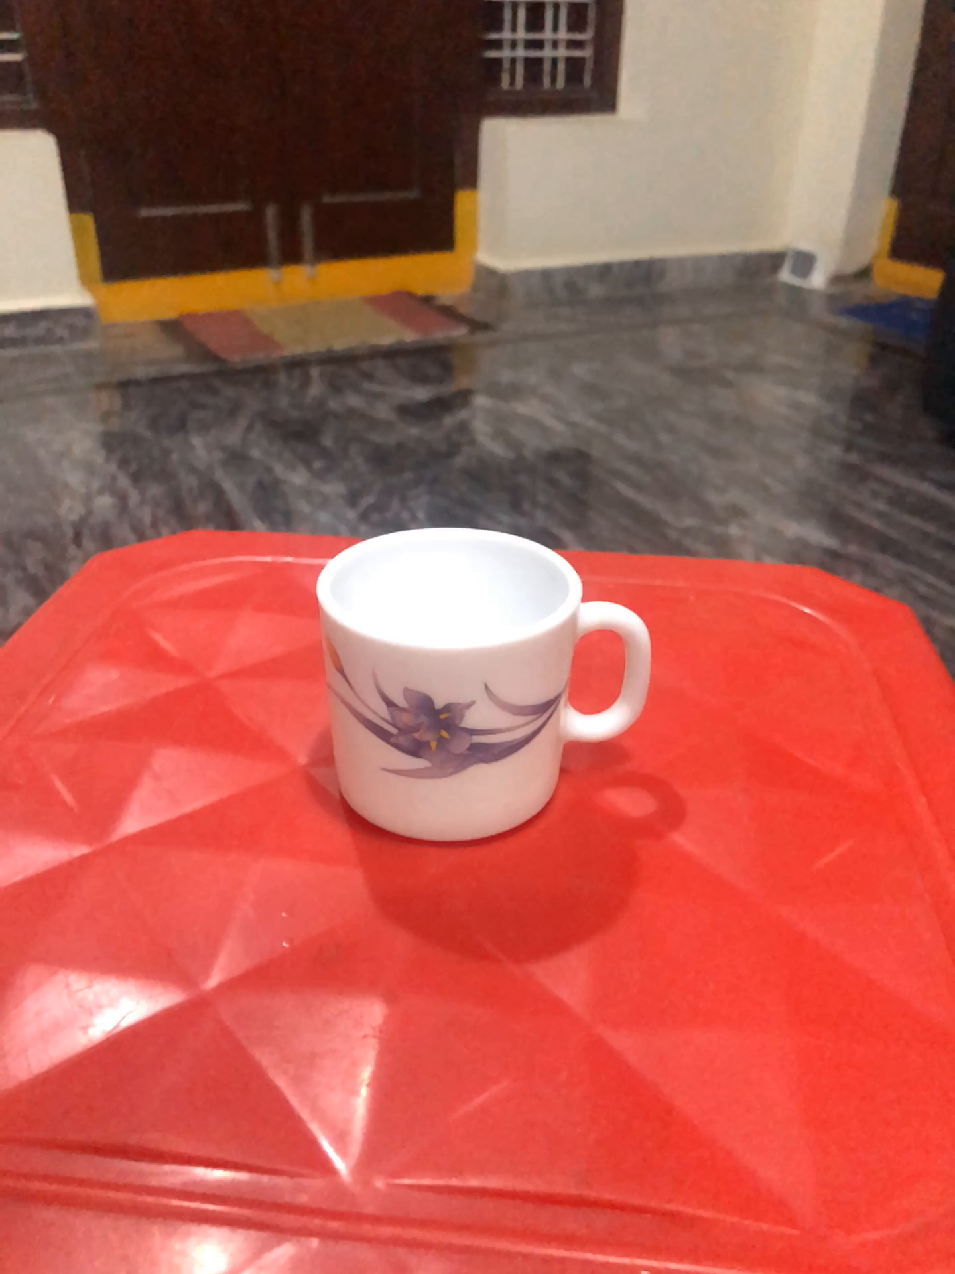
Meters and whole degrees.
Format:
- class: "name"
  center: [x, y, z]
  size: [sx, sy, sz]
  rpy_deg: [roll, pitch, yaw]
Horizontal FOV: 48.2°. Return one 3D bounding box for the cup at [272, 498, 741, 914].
- class: "cup"
  center: [0.003, 0.012, 0.264]
  size: [0.090, 0.060, 0.070]
  rpy_deg: [-9, 31, -18]
